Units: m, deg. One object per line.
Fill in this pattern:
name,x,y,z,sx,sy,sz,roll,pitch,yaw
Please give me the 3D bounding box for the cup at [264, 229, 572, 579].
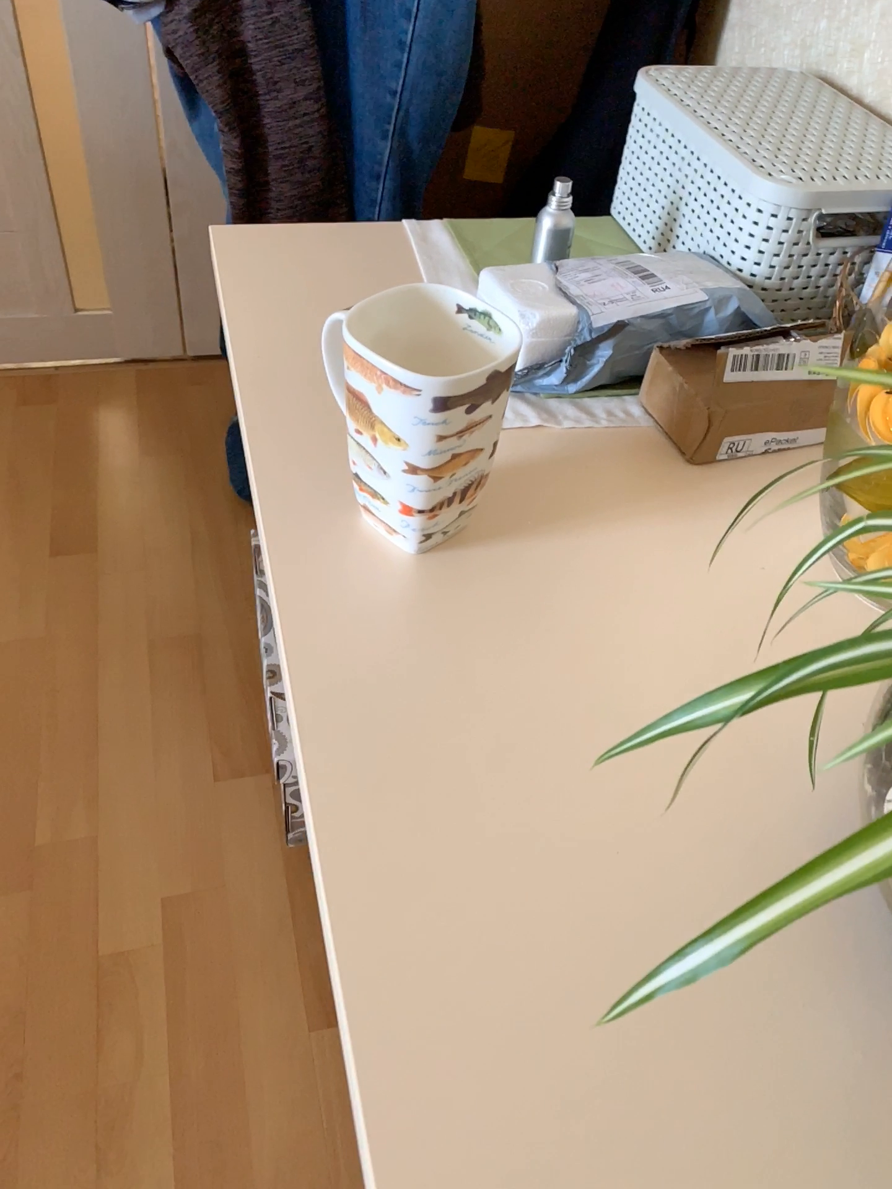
cup,-0.023,-0.116,0.543,0.100,0.129,0.141,-32,58,-33
